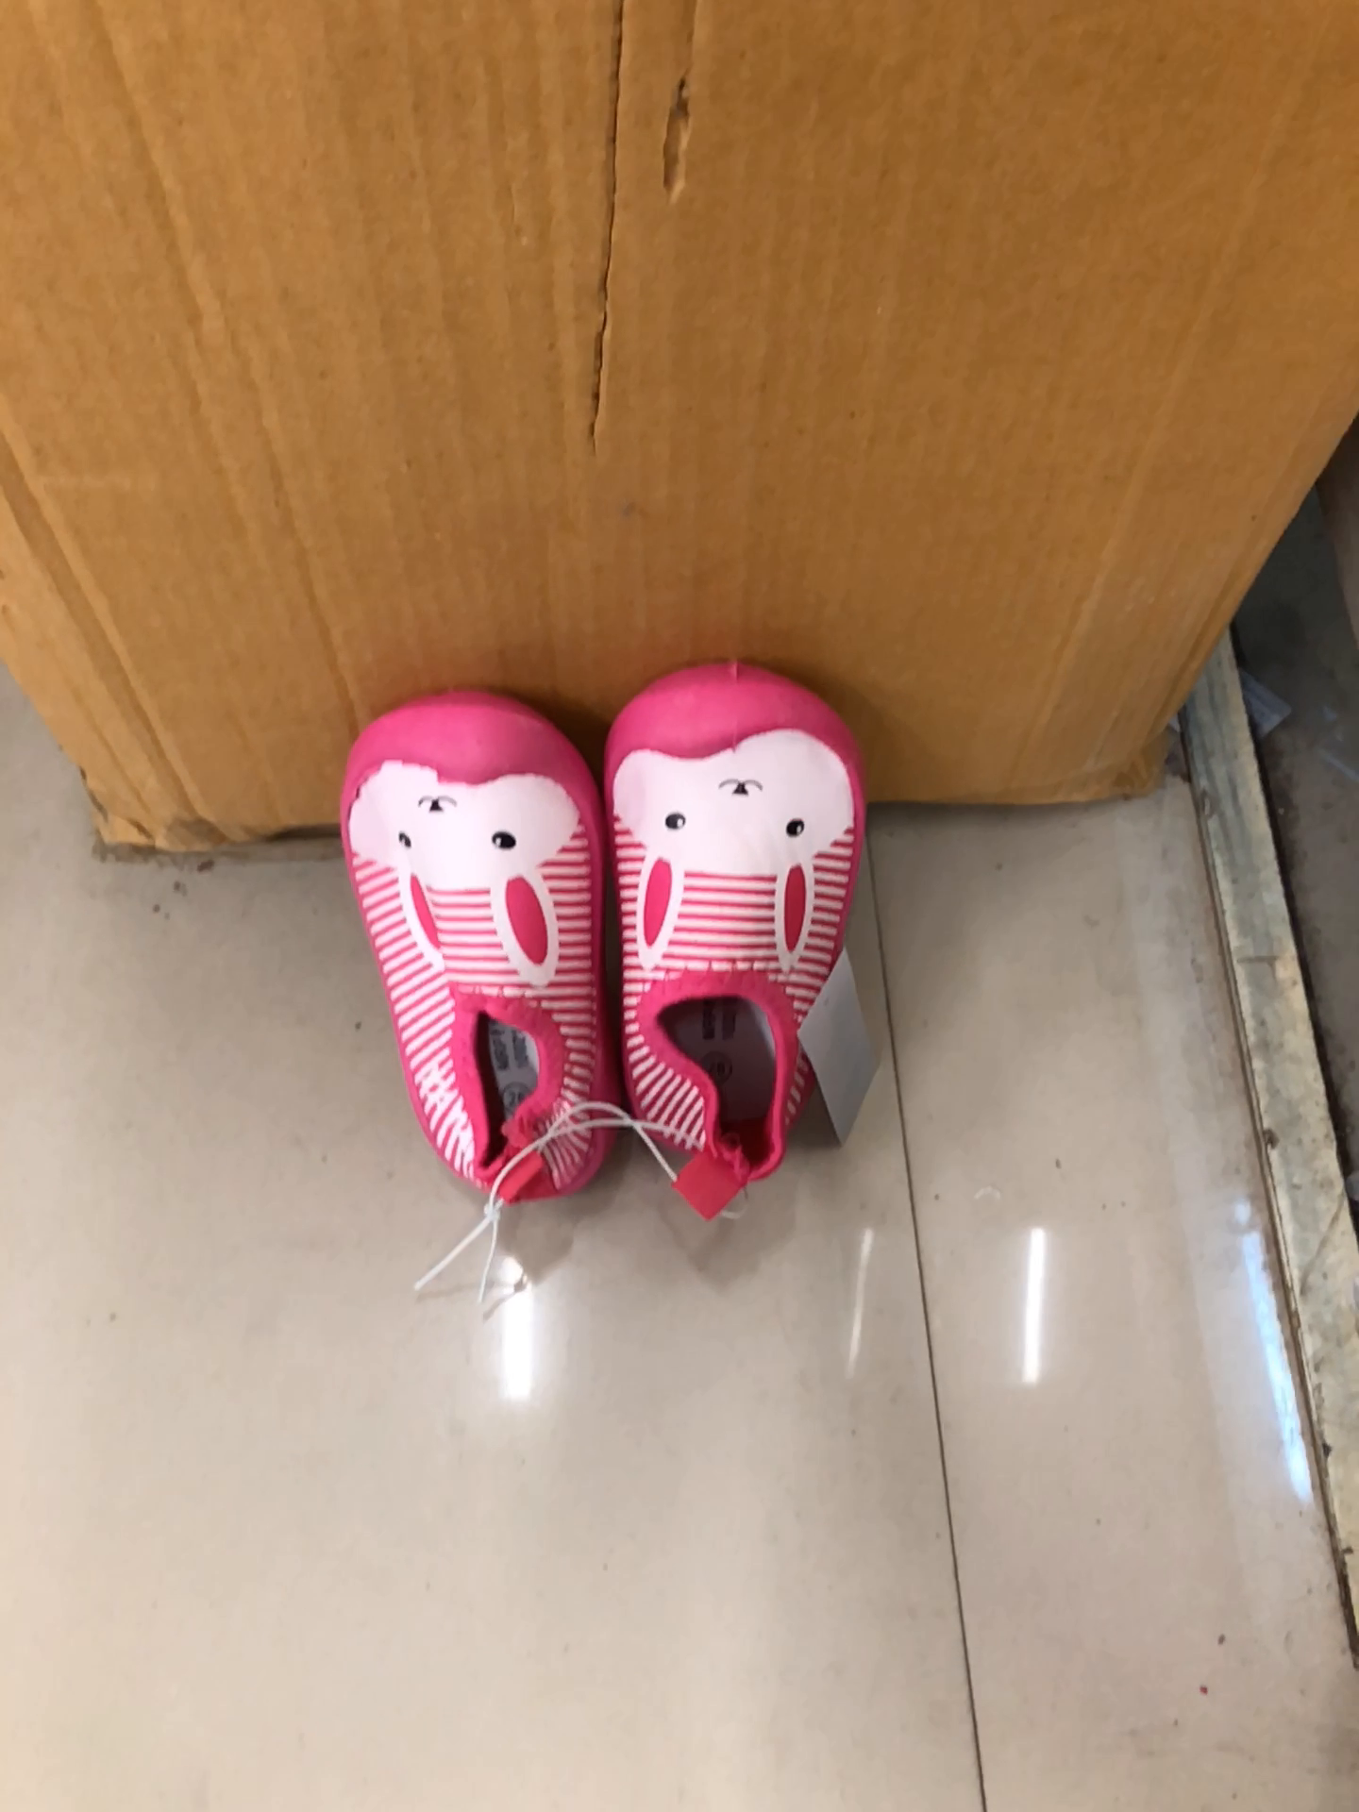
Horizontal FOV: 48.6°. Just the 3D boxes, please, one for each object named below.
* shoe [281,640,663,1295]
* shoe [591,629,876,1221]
[{"bbox_3d":[-0.053,0.012,0.420,0.069,0.082,0.156,-9,105,-3],"label":"shoe"},{"bbox_3d":[0.016,0.001,0.425,0.069,0.082,0.148,1,106,4],"label":"shoe"}]
